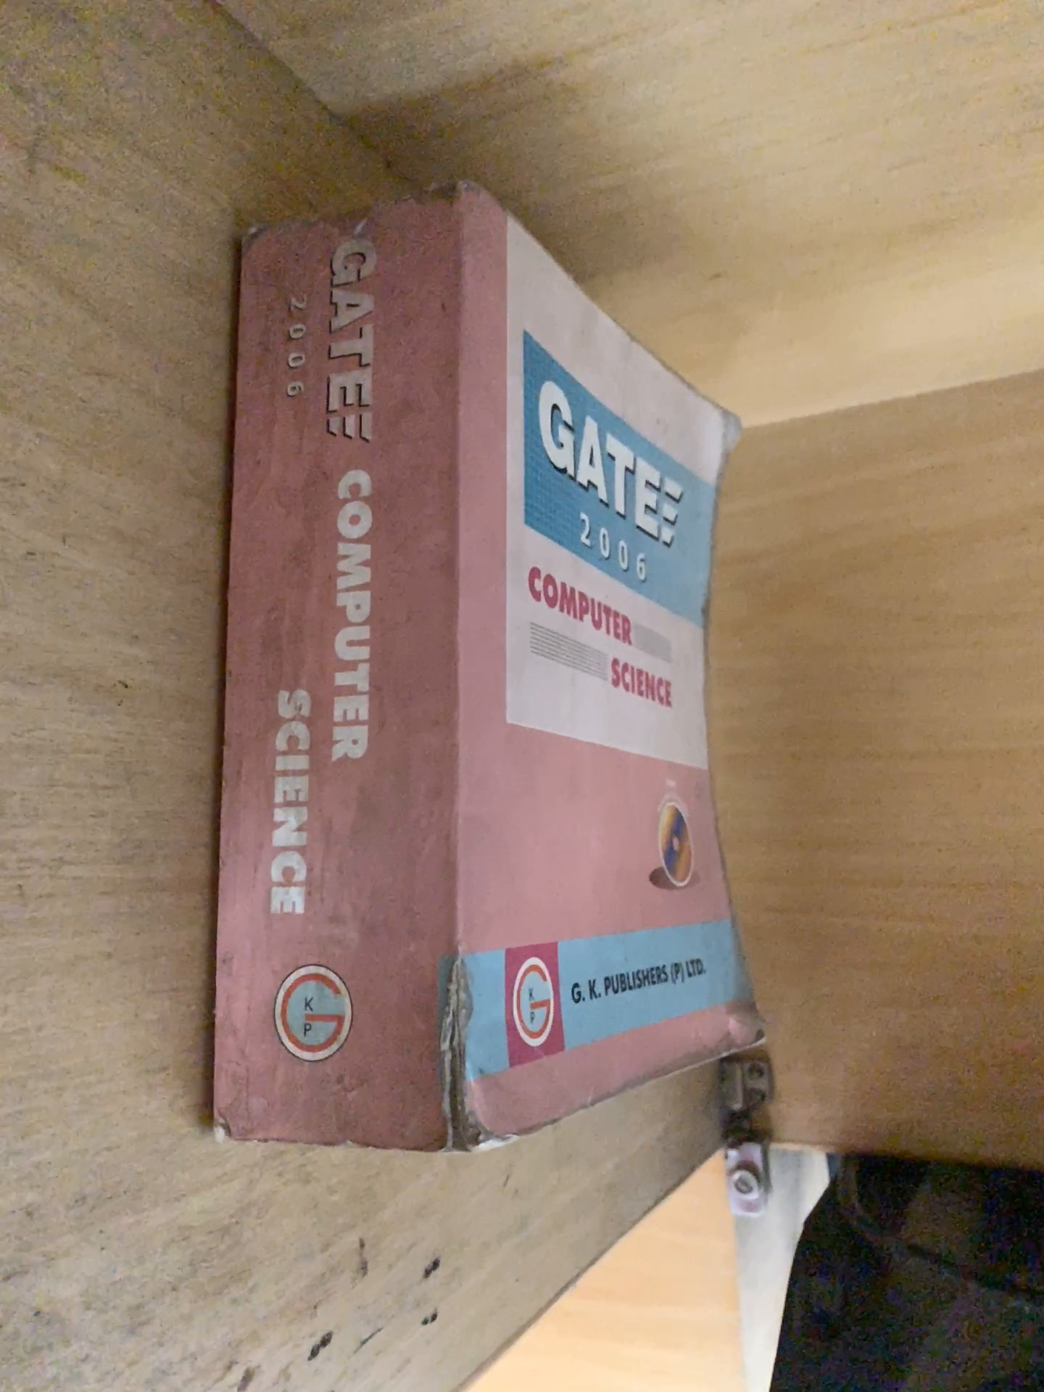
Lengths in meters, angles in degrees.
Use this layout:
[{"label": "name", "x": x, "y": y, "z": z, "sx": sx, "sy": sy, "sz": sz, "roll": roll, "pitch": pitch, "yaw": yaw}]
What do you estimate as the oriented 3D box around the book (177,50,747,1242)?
[{"label": "book", "x": -0.002, "y": -0.007, "z": 0.342, "sx": 0.191, "sy": 0.079, "sz": 0.270, "roll": 18, "pitch": 69, "yaw": -61}]
